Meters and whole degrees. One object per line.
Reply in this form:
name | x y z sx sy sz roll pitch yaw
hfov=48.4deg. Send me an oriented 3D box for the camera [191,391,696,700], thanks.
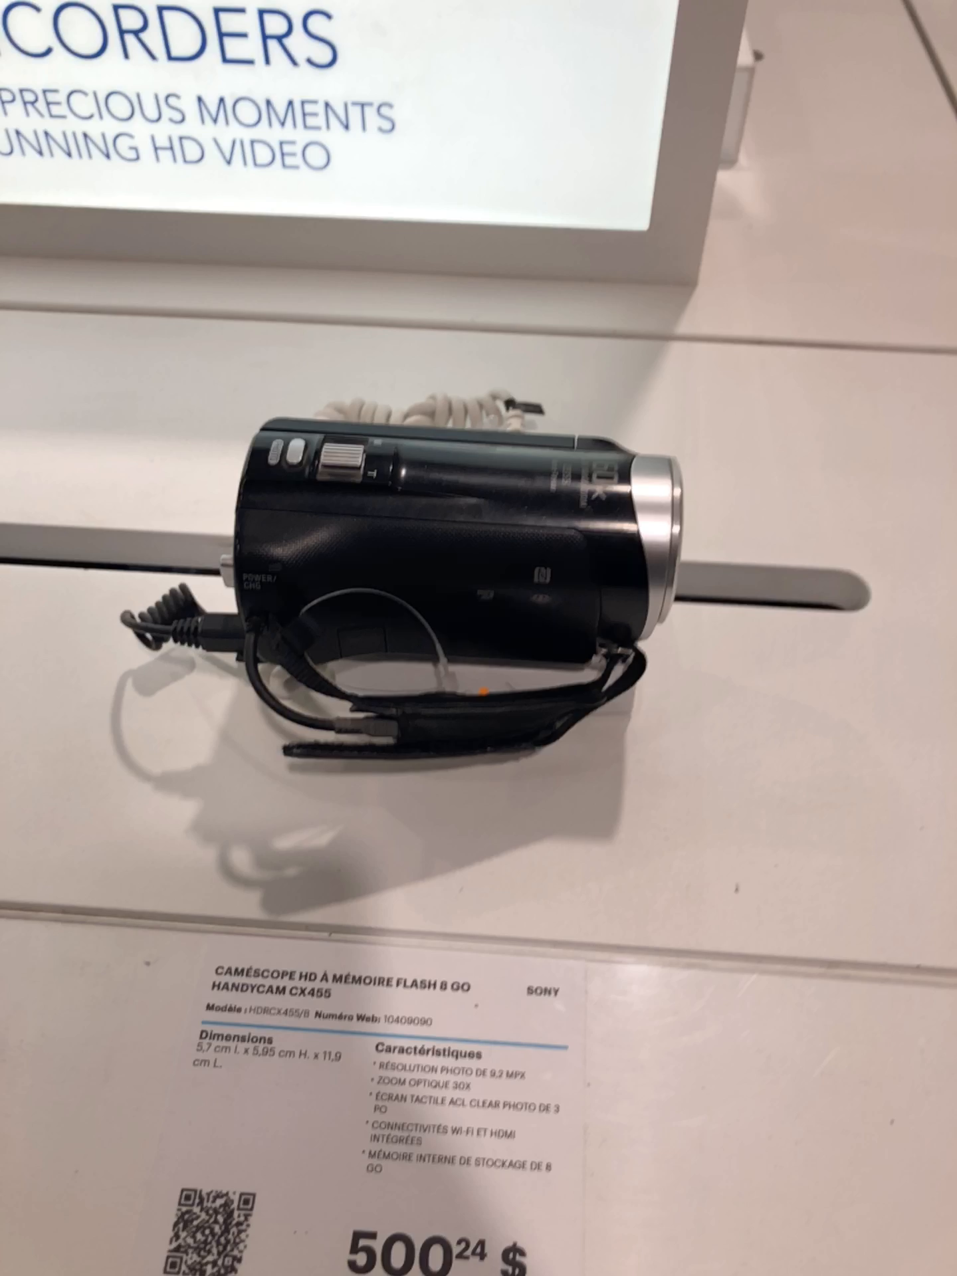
camera | -0.007 -0.025 0.295 0.121 0.058 0.057 2 51 2
